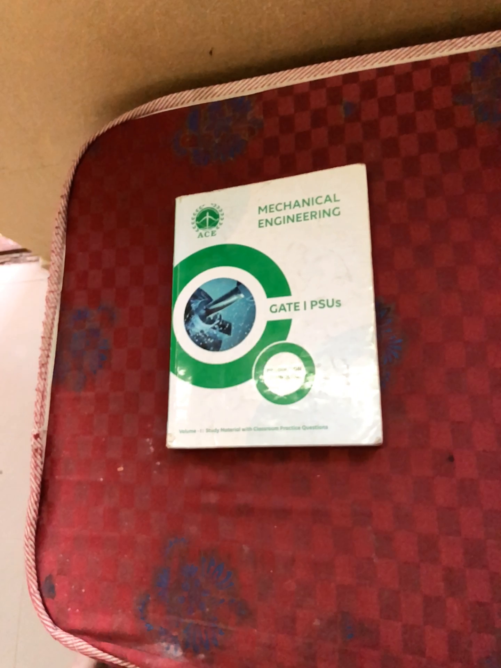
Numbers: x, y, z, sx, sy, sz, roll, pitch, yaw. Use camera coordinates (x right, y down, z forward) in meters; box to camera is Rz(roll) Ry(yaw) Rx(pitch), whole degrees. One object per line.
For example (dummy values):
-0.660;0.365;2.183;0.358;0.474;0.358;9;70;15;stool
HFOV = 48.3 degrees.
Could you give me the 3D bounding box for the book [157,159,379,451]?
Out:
0.013;-0.027;0.566;0.210;0.030;0.280;-5;74;18;book
